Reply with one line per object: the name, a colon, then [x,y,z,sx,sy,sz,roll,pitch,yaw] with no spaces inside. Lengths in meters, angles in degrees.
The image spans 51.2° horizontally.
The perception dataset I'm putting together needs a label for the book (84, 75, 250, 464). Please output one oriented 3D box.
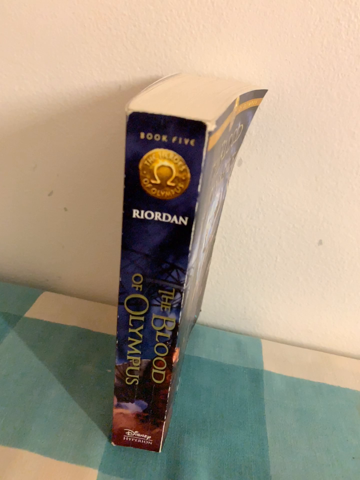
book: [-0.003,0.004,0.231,0.050,0.180,0.151,12,28,6]
